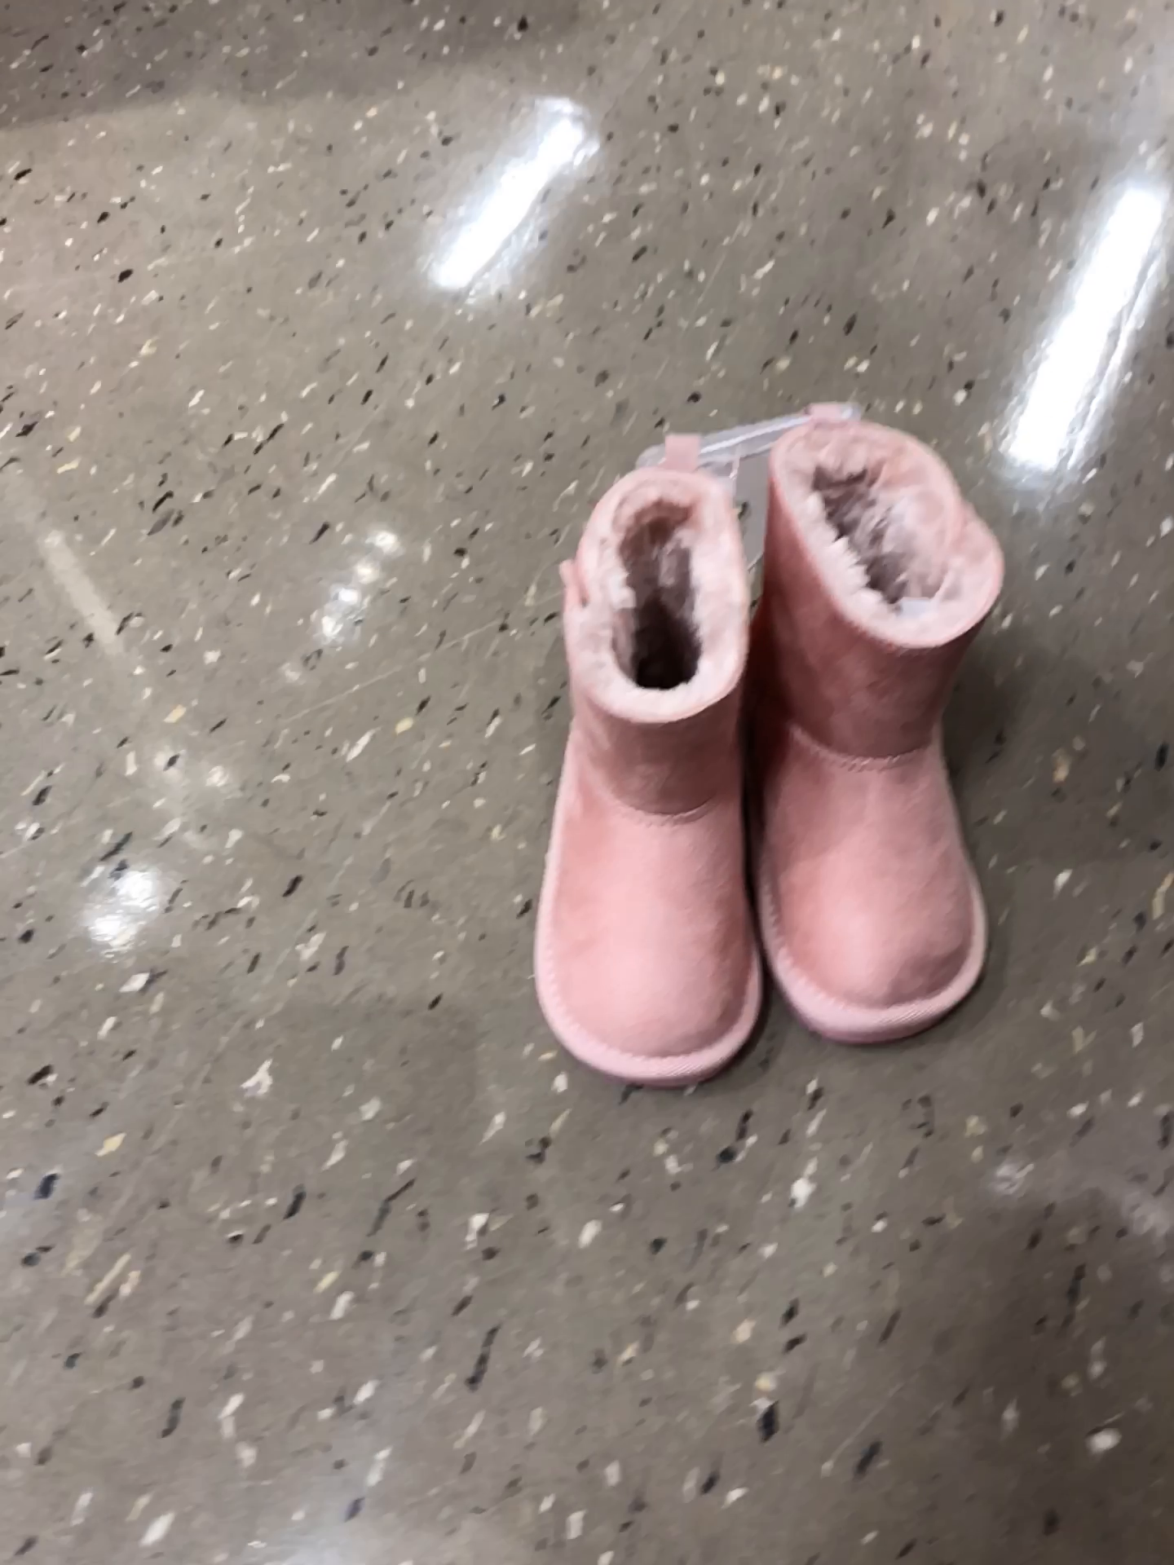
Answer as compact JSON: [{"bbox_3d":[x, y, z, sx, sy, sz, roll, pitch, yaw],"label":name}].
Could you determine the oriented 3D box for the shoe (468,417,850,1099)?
[{"bbox_3d":[0.020,-0.001,0.413,0.090,0.150,0.160,-1,60,2],"label":"shoe"}]

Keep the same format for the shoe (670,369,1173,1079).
[{"bbox_3d":[0.090,-0.013,0.421,0.090,0.150,0.160,-11,60,-4],"label":"shoe"}]
